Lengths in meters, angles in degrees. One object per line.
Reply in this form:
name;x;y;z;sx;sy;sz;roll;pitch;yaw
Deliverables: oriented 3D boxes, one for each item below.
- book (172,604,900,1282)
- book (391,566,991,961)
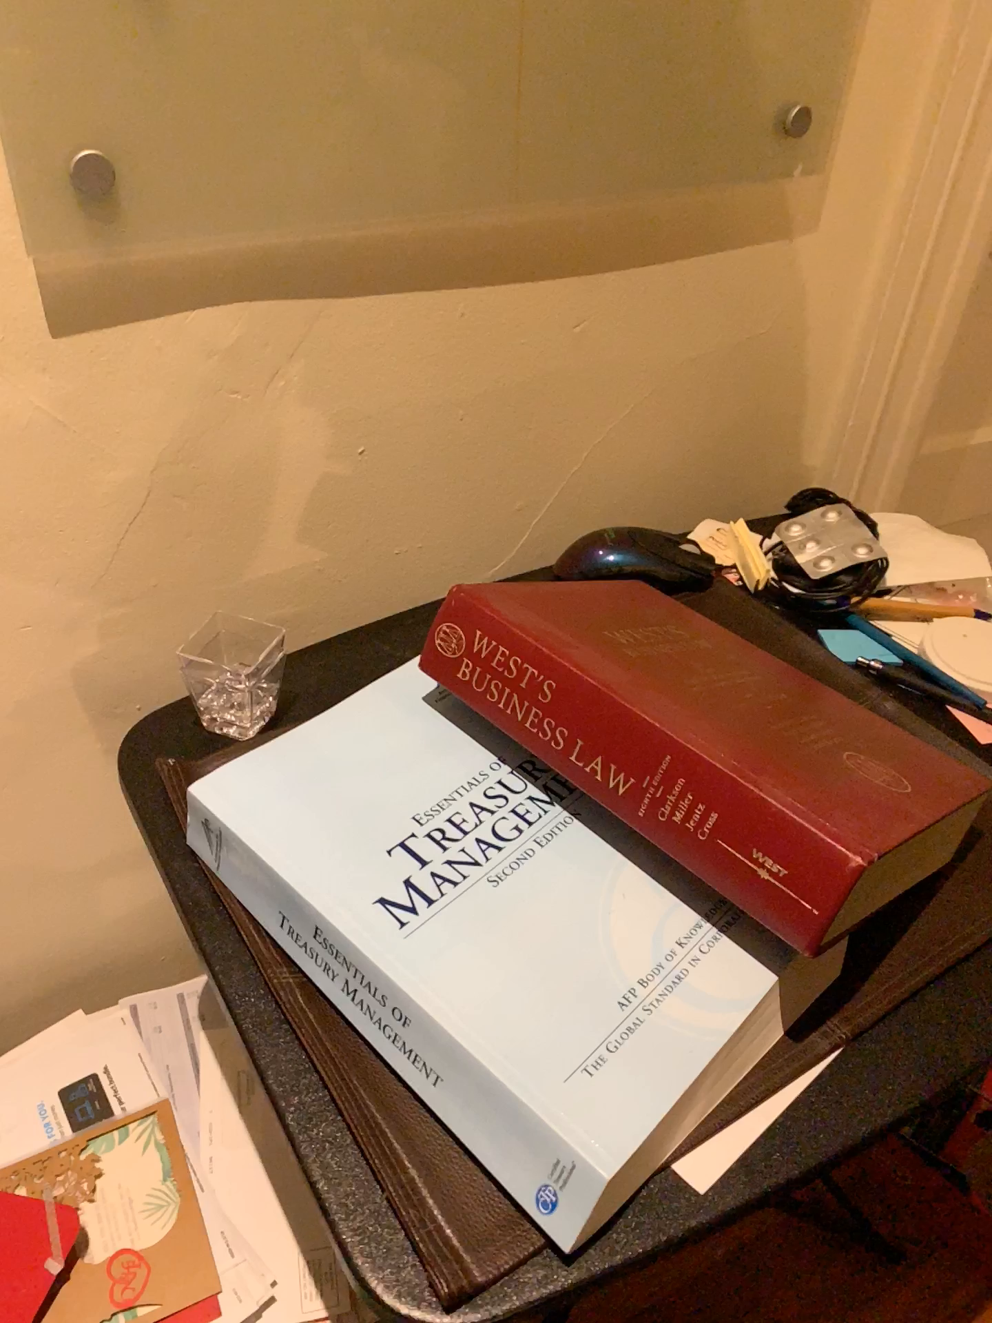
book;0.013;0.102;0.506;0.220;0.070;0.271;-29;49;-35
book;0.111;0.031;0.563;0.271;0.050;0.210;34;23;32
